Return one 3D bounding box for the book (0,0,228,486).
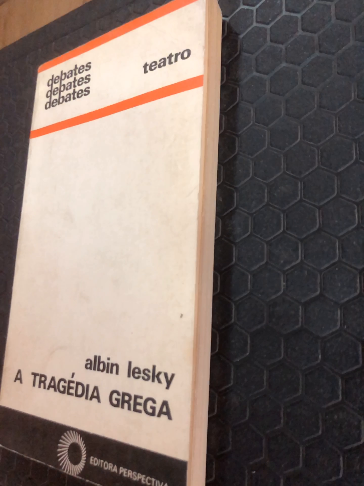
[{"bbox_3d":[-0.038,-0.005,0.190,0.114,0.020,0.207,-3,79,34],"label":"book"}]
